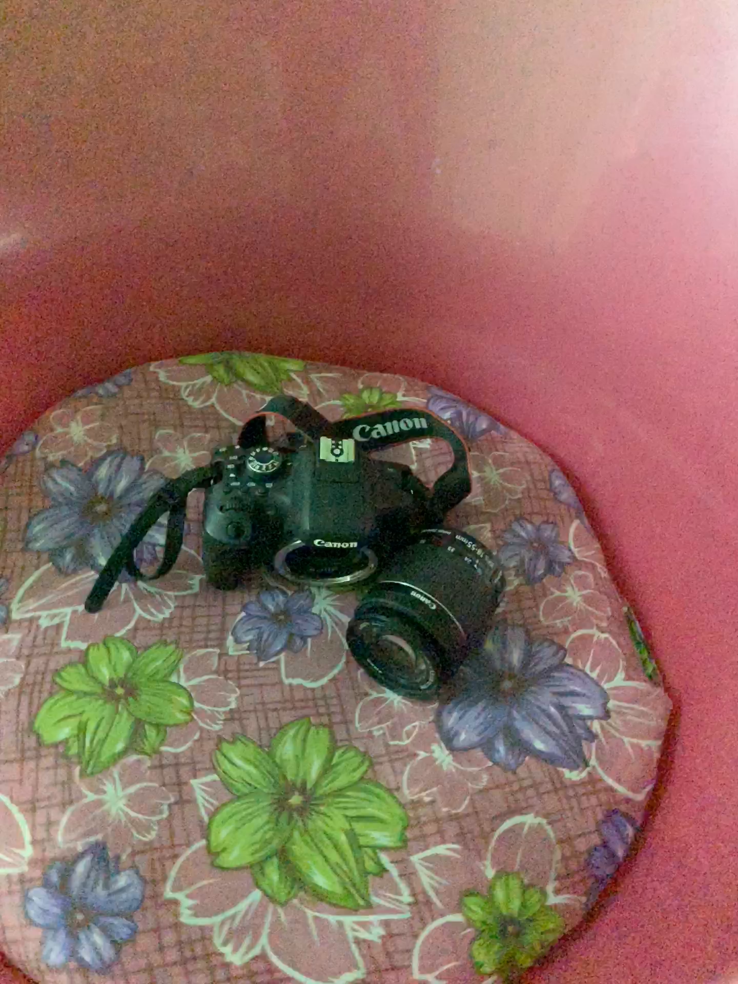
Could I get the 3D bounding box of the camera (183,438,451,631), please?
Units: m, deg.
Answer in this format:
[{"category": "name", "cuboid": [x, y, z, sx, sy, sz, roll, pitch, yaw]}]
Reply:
[{"category": "camera", "cuboid": [-0.031, 0.026, 0.460, 0.143, 0.078, 0.086, -1, 56, -4]}]
